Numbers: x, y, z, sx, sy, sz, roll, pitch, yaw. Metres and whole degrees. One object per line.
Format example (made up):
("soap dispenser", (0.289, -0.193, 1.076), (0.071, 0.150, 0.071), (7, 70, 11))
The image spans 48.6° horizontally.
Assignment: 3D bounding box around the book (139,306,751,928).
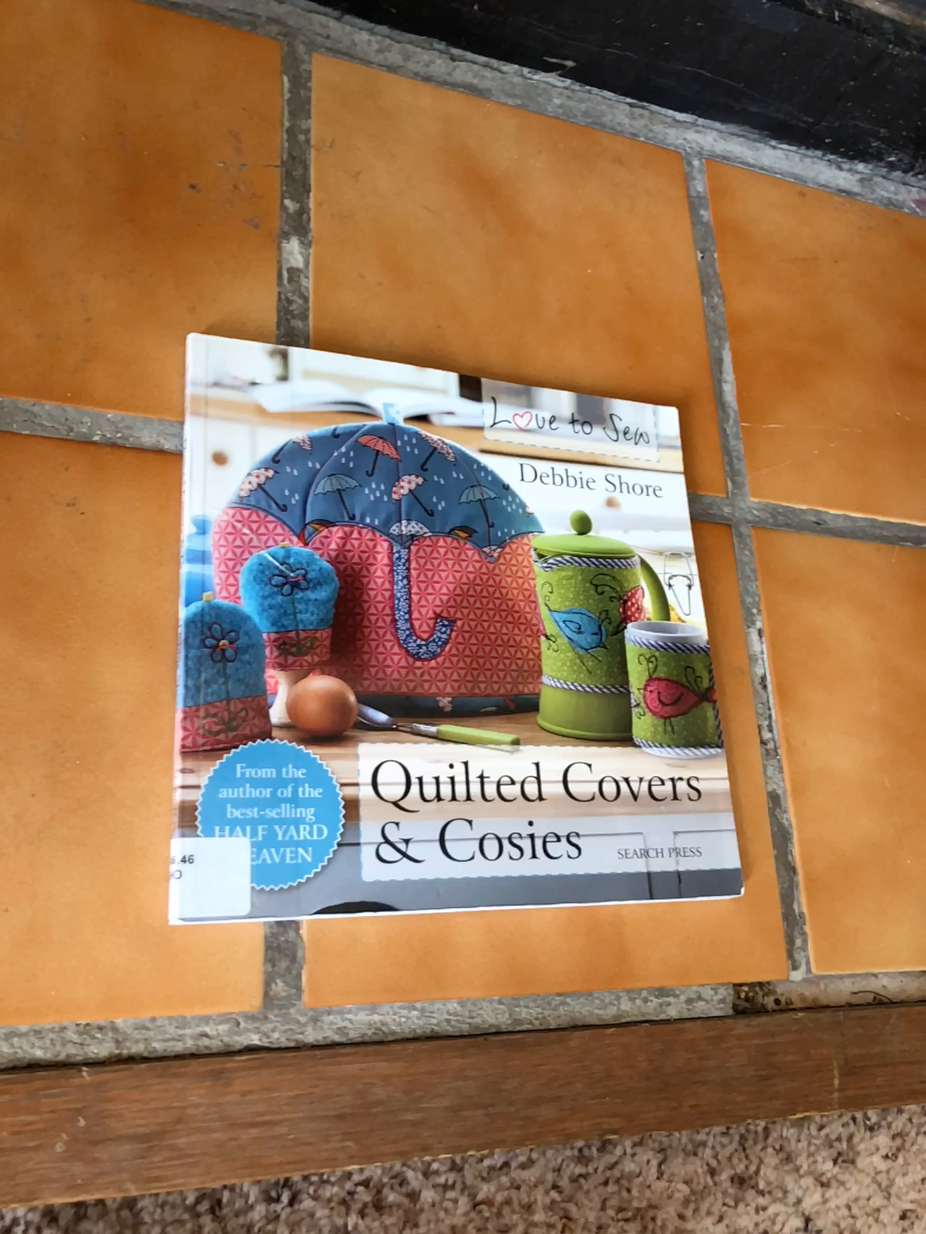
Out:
("book", (-0.003, -0.002, 0.393), (0.225, 0.015, 0.219), (3, 72, -22))
